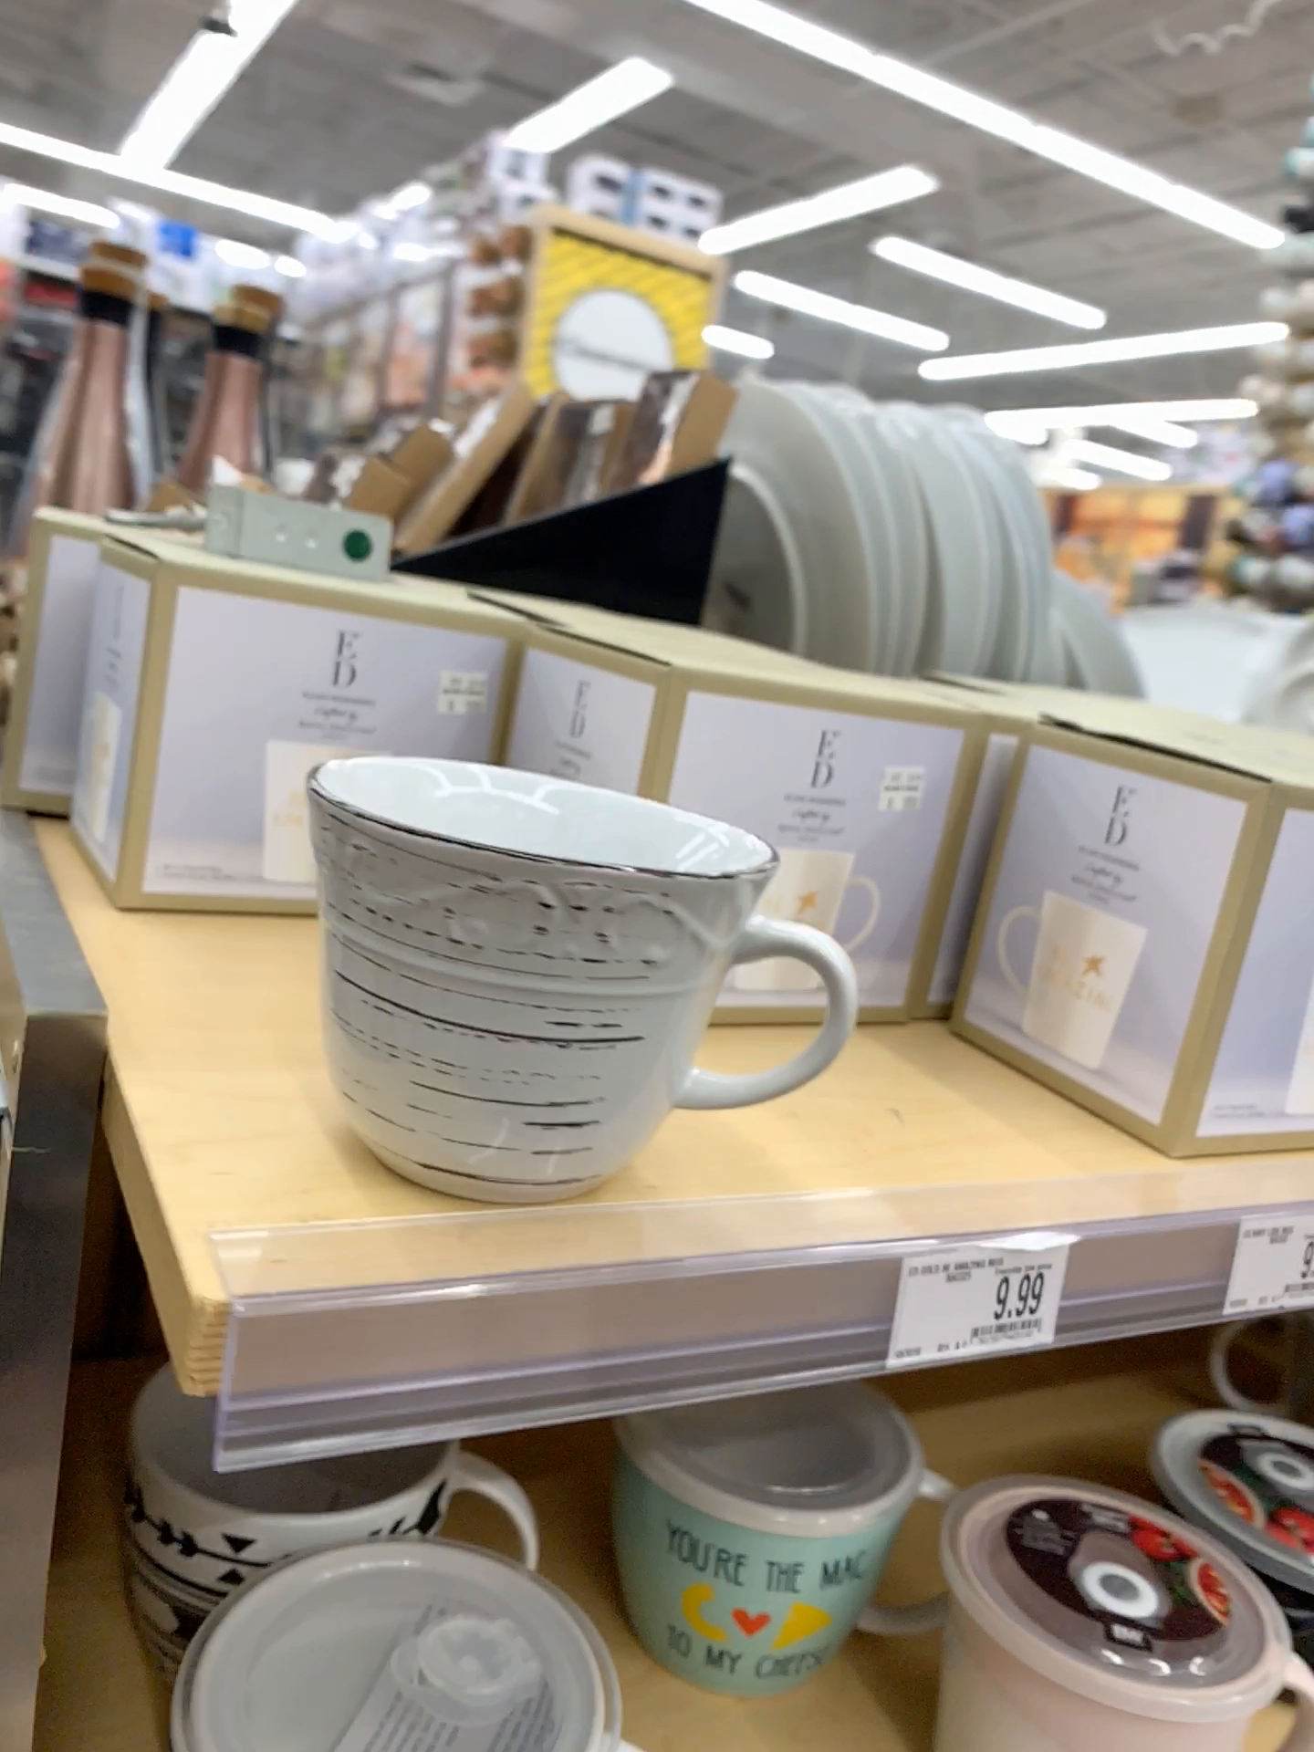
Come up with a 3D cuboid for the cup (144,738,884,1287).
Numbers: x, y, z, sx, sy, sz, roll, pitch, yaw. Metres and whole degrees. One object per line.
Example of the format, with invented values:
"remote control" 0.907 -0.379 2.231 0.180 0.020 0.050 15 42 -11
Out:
"cup" -0.025 0.018 0.314 0.124 0.075 0.114 9 10 -2
